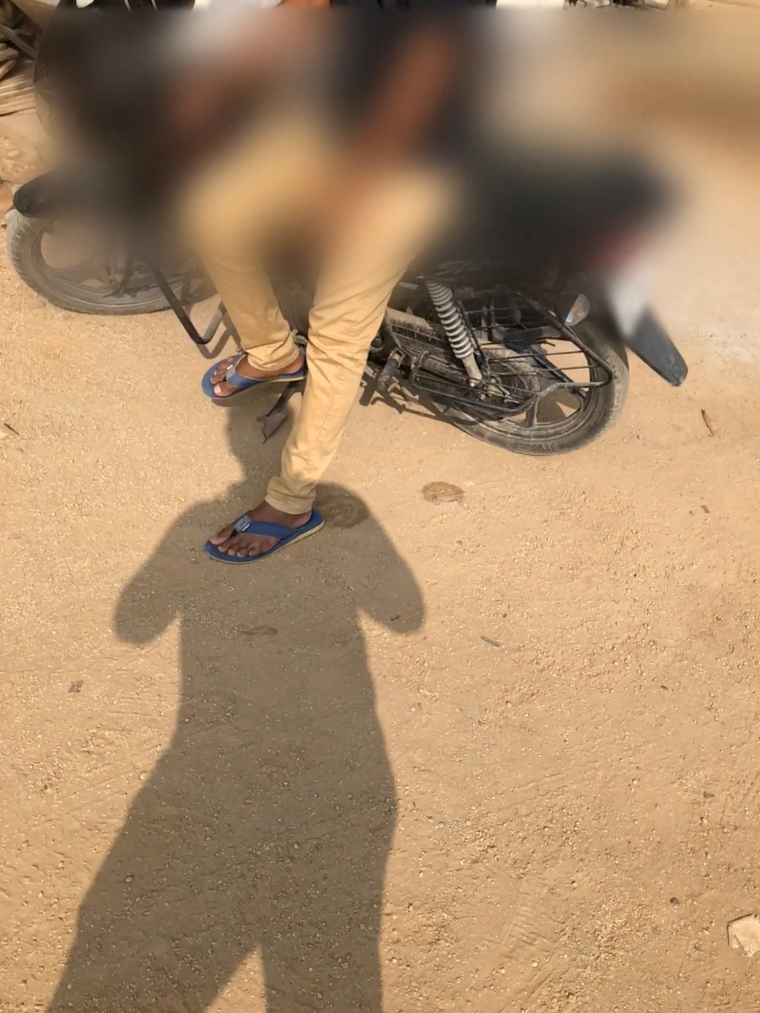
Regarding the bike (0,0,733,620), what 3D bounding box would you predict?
[{"bbox_3d":[-0.250,-0.694,1.963,1.690,1.214,0.885,15,40,12],"label":"bike"}]
